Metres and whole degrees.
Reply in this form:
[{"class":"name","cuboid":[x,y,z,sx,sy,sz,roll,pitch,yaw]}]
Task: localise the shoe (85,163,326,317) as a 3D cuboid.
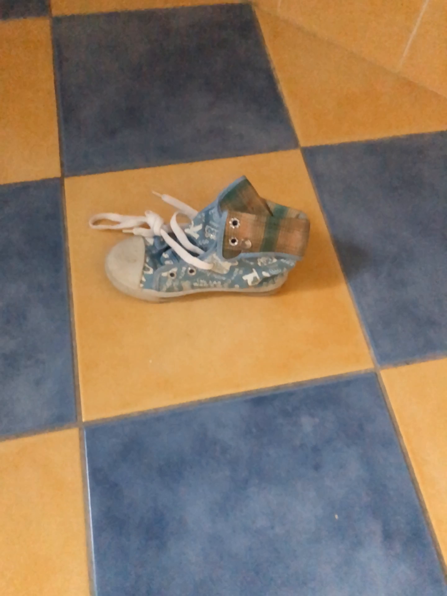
[{"class":"shoe","cuboid":[-0.020,-0.052,0.477,0.200,0.120,0.080,-6,64,-6]}]
